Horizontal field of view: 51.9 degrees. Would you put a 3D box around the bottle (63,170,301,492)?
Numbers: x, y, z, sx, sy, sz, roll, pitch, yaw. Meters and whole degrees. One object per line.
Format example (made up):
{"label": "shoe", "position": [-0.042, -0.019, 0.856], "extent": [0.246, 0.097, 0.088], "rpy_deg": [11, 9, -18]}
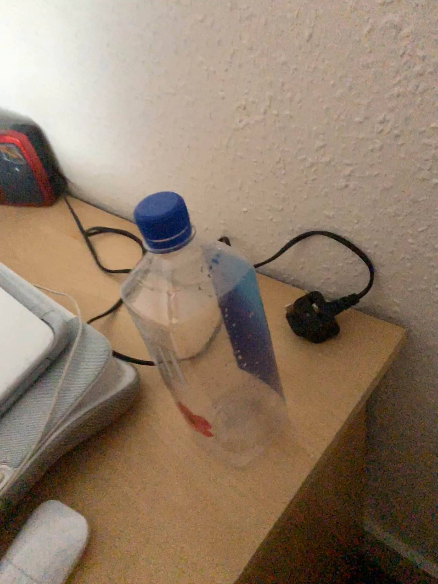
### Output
{"label": "bottle", "position": [-0.010, 0.036, 0.317], "extent": [0.091, 0.208, 0.080], "rpy_deg": [26, 55, 36]}
